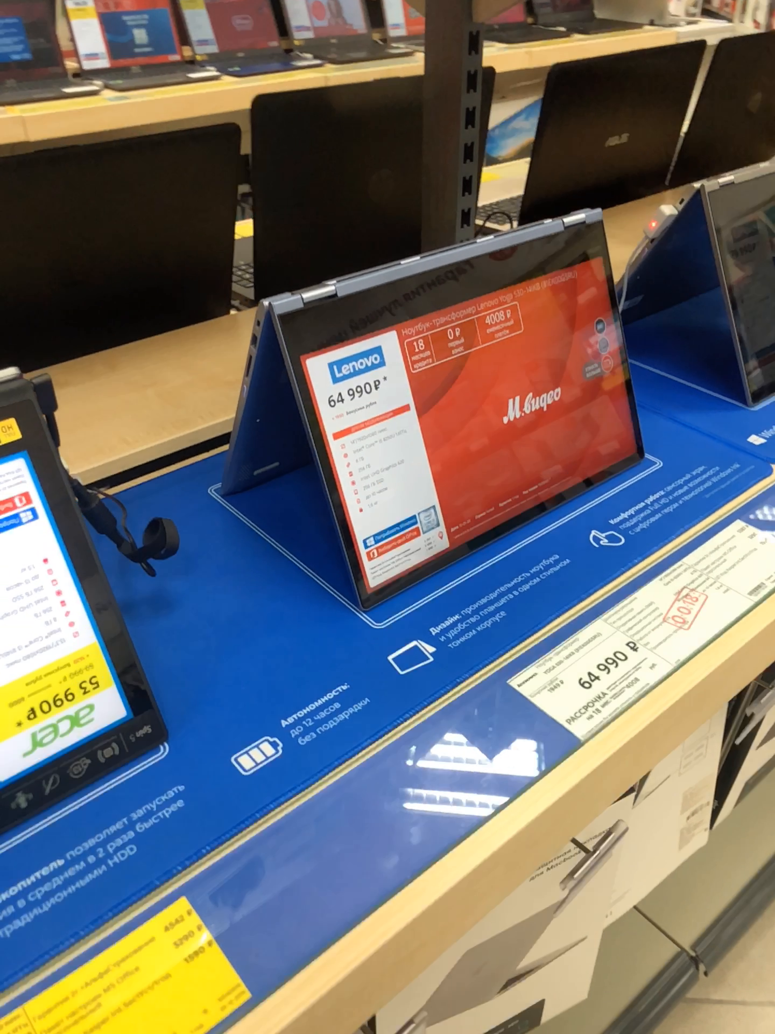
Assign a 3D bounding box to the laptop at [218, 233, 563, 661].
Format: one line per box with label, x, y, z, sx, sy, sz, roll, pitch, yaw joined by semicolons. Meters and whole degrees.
laptop;0.003;-0.051;0.793;0.306;0.157;0.221;-26;5;-36
